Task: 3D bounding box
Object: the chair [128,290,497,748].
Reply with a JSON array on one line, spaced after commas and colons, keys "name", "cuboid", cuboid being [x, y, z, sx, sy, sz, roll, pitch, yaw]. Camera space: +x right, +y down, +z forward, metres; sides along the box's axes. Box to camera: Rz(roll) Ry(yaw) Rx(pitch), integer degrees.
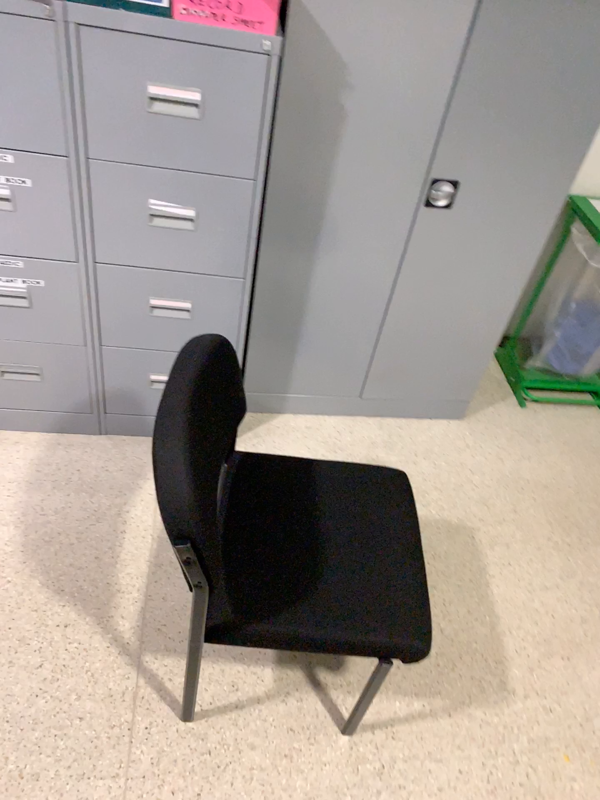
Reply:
[{"name": "chair", "cuboid": [-0.025, 0.307, 1.457, 0.580, 0.832, 0.636, 8, 42, -4]}]
